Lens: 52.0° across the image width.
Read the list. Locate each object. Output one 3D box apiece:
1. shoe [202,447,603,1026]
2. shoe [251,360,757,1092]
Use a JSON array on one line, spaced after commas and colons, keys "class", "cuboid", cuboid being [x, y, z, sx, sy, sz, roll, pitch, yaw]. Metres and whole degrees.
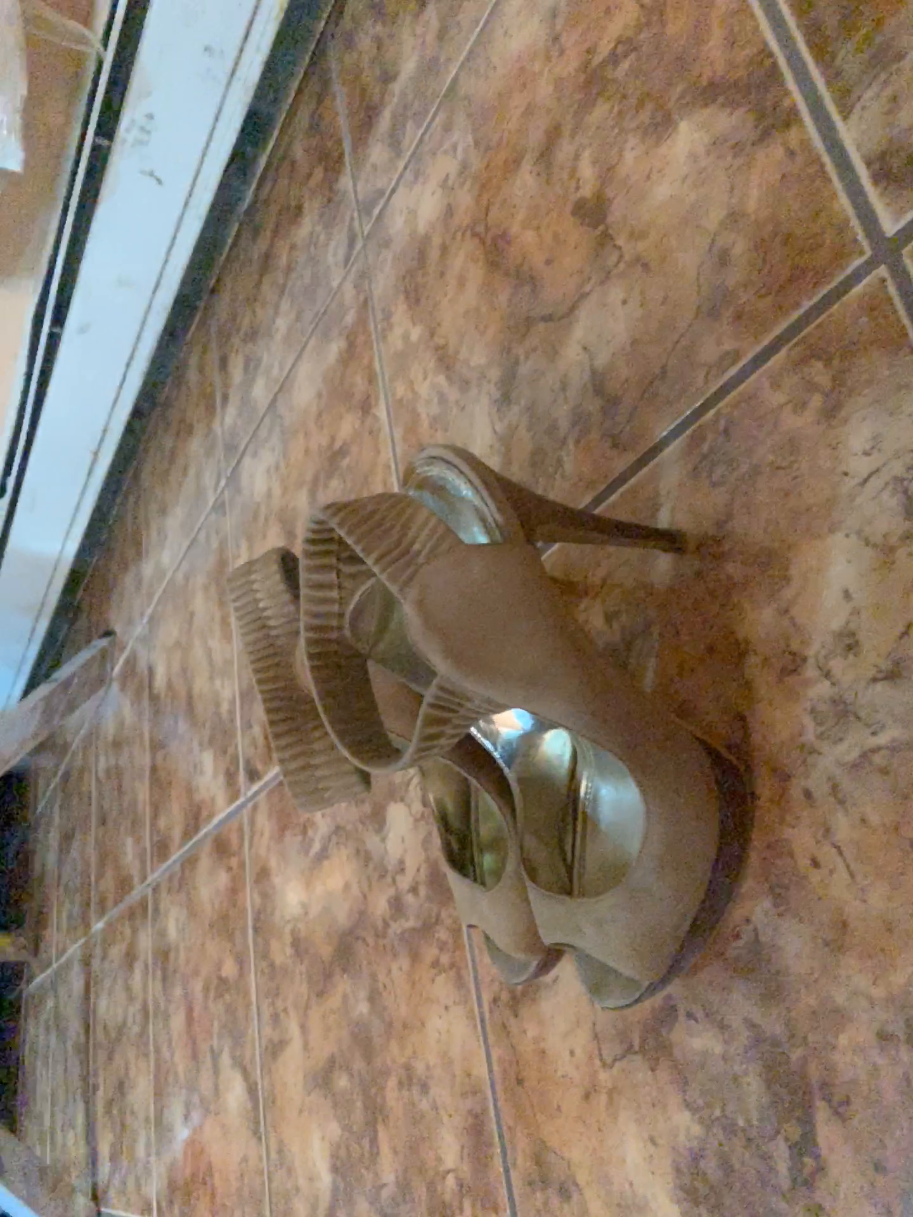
[{"class": "shoe", "cuboid": [-0.021, 0.053, 0.410, 0.082, 0.139, 0.209, -8, 77, 60]}, {"class": "shoe", "cuboid": [0.020, 0.039, 0.335, 0.082, 0.149, 0.204, -8, 77, 60]}]
